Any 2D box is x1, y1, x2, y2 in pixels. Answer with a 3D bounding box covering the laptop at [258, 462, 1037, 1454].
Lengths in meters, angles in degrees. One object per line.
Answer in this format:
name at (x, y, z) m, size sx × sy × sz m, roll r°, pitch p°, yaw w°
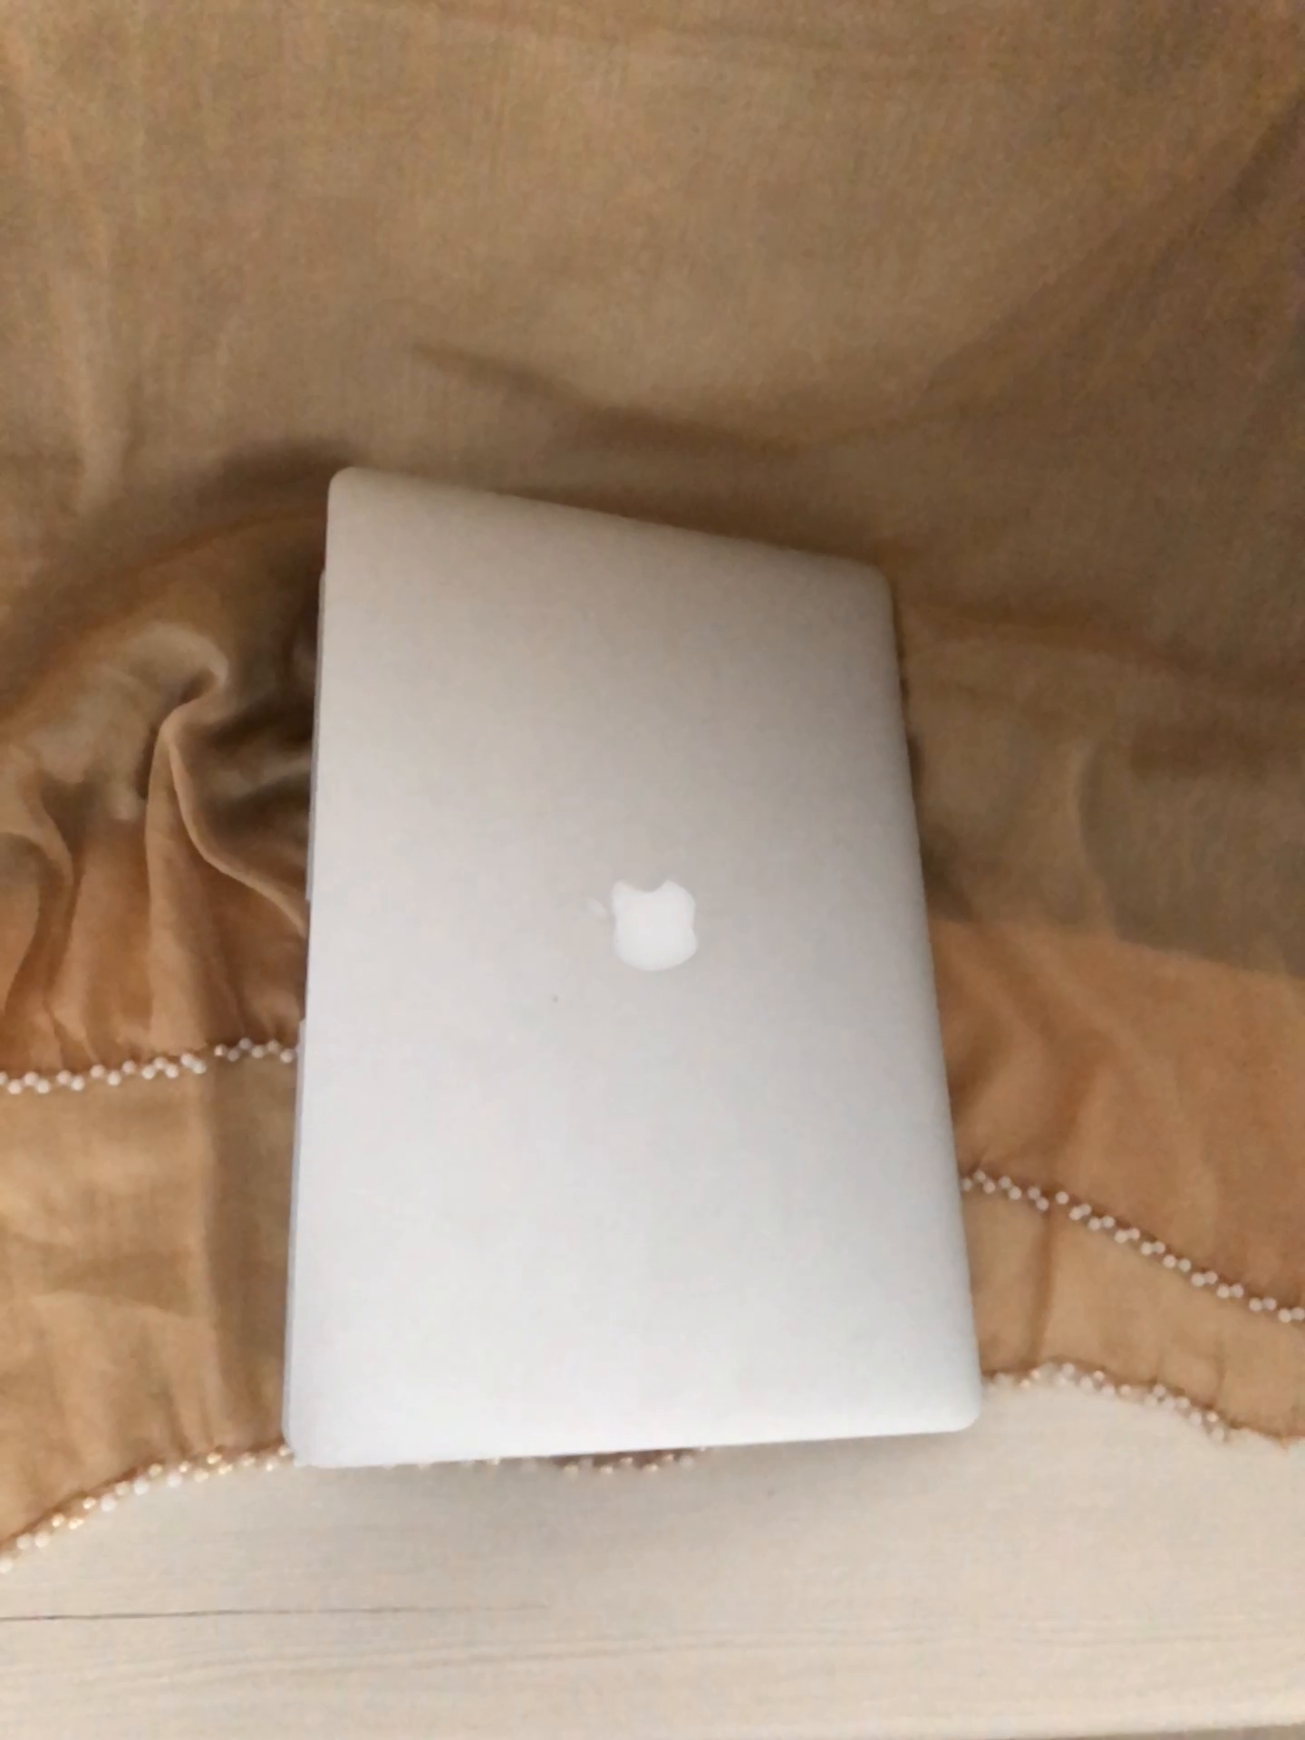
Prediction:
laptop at (-0.009, 0.021, 0.533) m, size 0.239 × 0.063 × 0.352 m, roll 0°, pitch 69°, yaw -7°
